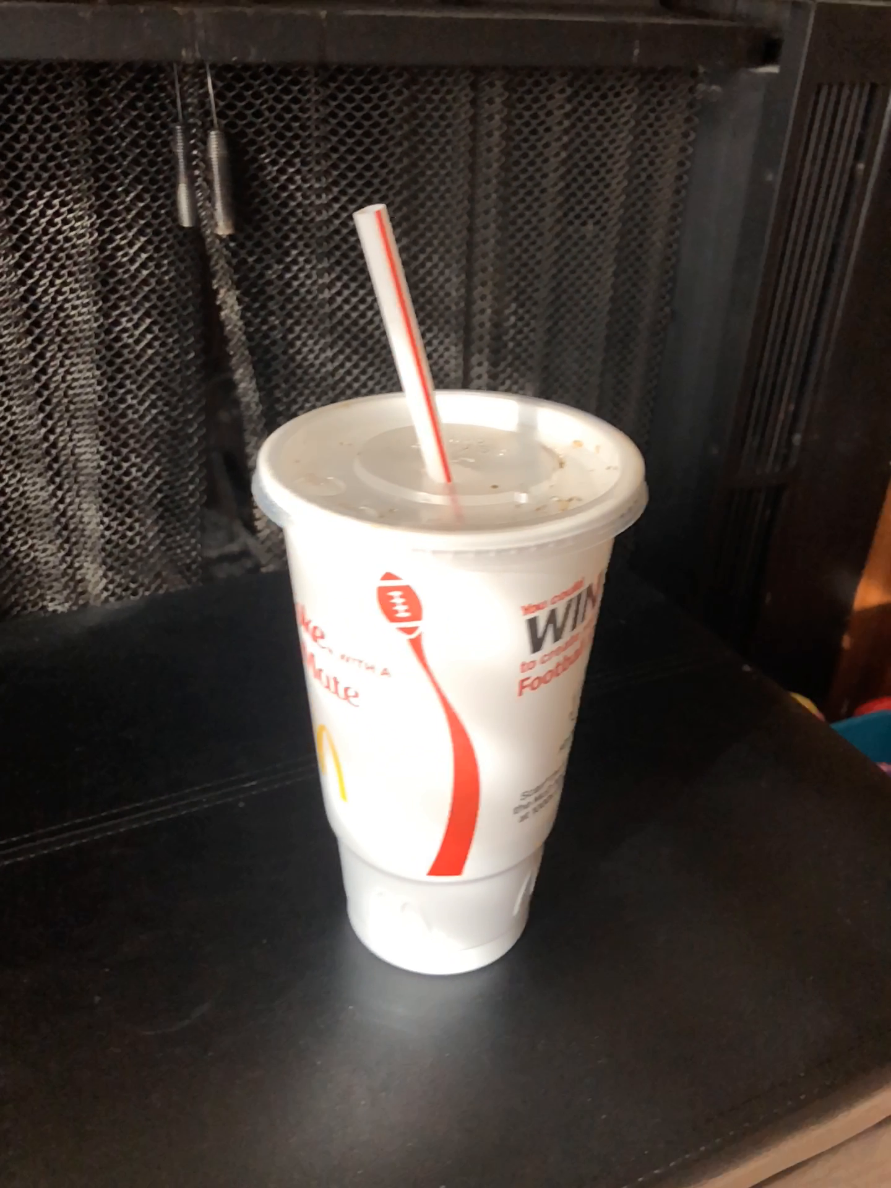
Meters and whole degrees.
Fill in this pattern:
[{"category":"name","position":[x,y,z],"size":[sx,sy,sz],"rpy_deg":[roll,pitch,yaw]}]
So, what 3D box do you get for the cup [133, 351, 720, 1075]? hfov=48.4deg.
[{"category":"cup","position":[0.000,0.026,0.299],"size":[0.110,0.150,0.120],"rpy_deg":[2,31,-1]}]
